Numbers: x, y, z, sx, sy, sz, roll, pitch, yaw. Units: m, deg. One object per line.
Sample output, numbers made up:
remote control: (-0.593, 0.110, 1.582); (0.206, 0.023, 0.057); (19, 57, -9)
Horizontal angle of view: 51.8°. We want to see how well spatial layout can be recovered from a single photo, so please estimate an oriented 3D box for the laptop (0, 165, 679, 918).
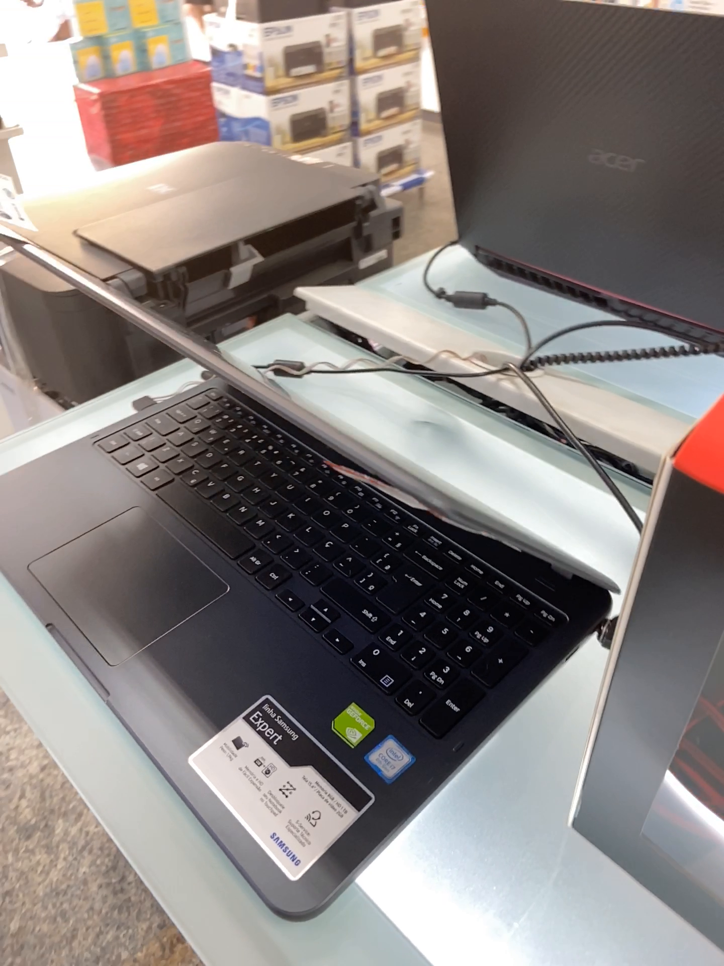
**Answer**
laptop: (-0.073, -0.026, 0.421); (0.237, 0.170, 0.372); (-32, 47, -31)
